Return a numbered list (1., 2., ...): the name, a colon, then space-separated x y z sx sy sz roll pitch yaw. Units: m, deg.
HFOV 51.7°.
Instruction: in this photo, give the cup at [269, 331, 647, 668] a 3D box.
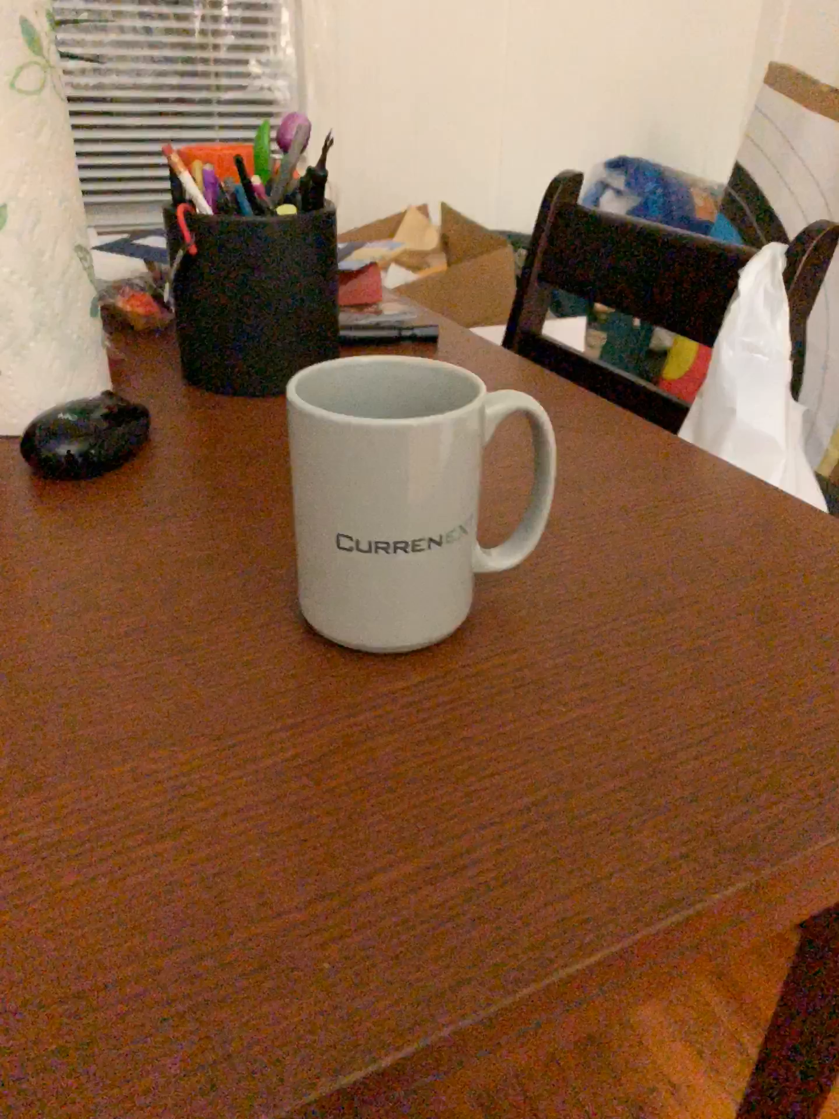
1. cup: 0.010 -0.034 0.403 0.140 0.109 0.101 -7 31 -14
